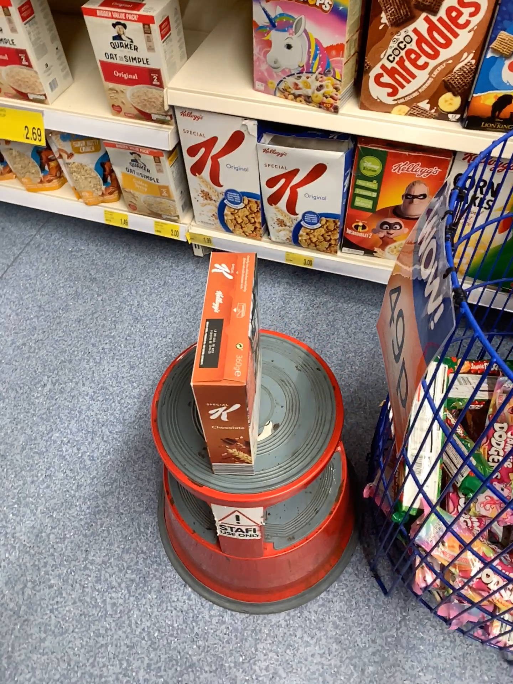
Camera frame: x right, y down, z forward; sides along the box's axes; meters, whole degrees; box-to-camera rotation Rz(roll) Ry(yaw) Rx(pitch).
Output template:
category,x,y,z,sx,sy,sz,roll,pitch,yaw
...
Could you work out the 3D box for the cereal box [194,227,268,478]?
category,x,y,z,sx,sy,sz,roll,pitch,yaw
cereal box,-0.021,0.024,0.683,0.060,0.268,0.212,2,54,3
